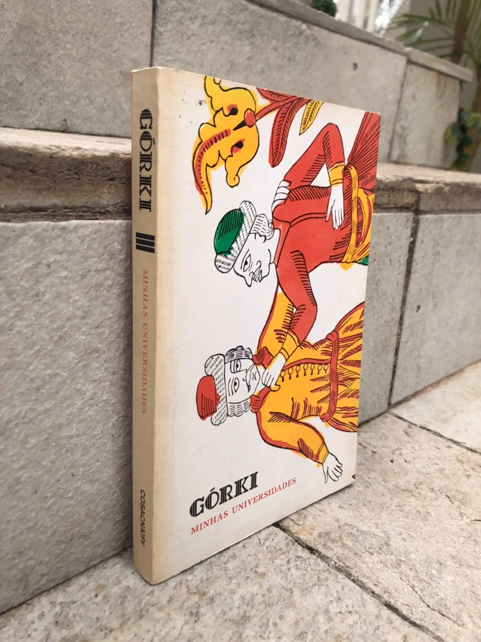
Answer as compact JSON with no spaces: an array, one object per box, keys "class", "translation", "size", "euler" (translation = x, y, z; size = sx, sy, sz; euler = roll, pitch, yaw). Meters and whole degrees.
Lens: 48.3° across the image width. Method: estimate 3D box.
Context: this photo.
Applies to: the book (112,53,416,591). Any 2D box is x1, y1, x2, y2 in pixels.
[{"class":"book","translation":[0.016,-0.002,0.240],"size":[0.142,0.189,0.030],"euler":[-10,18,-40]}]
